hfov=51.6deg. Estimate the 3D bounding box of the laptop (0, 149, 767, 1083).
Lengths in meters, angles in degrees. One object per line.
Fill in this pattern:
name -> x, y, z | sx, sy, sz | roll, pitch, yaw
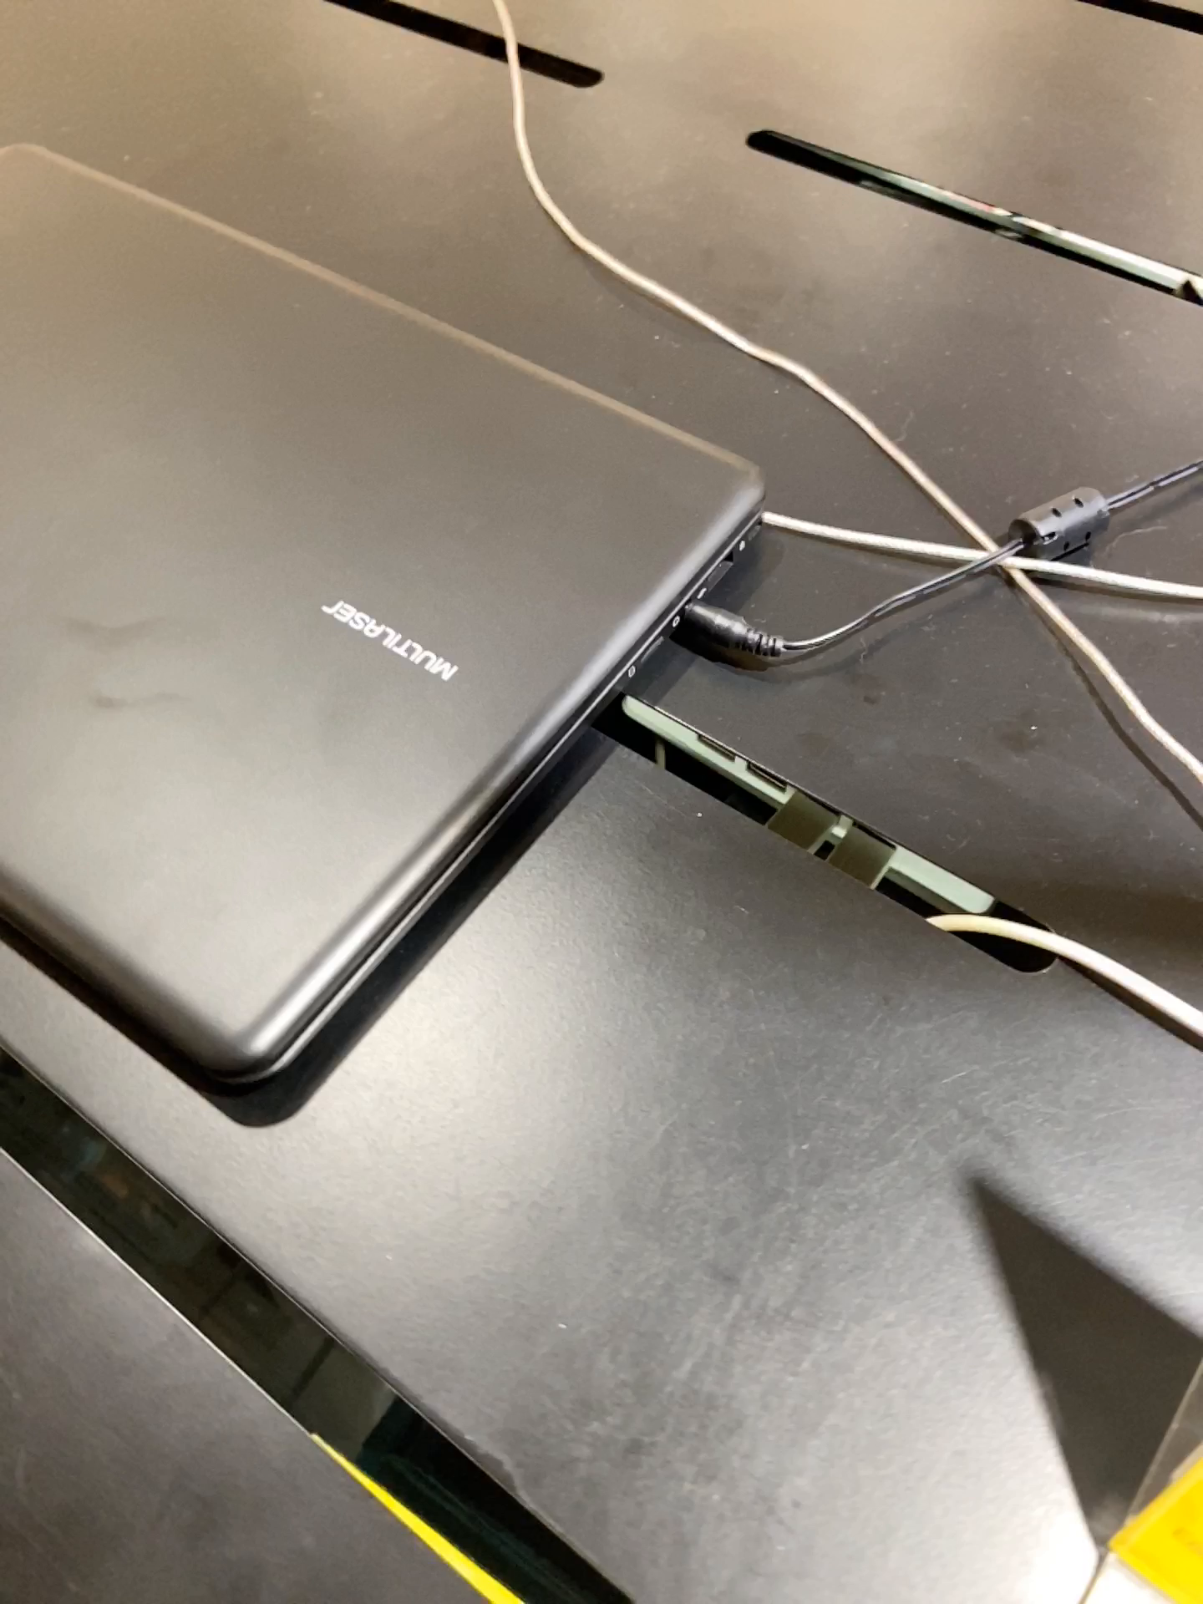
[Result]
laptop -> -0.146, -0.091, 0.359 | 0.324, 0.001, 0.211 | 30, 63, 20
